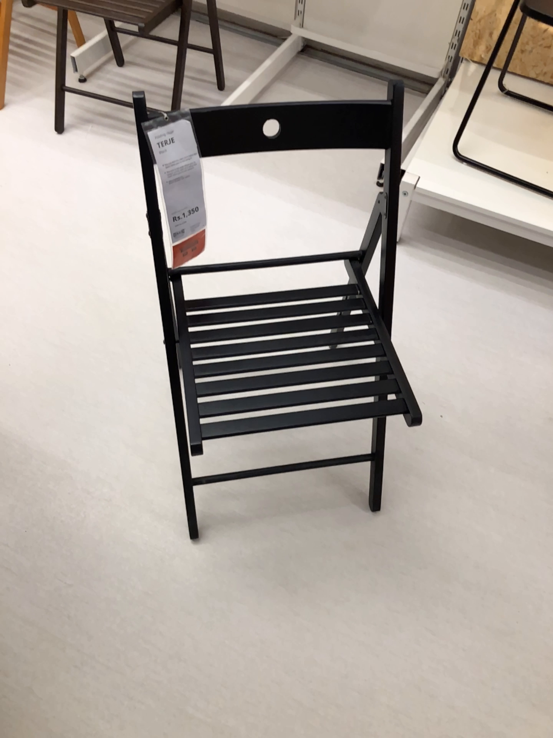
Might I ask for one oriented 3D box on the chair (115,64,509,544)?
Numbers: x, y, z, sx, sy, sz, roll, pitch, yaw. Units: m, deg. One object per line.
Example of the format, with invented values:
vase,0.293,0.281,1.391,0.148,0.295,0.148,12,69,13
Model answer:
chair,-0.005,-0.064,1.111,0.440,0.726,0.482,-6,57,-8
